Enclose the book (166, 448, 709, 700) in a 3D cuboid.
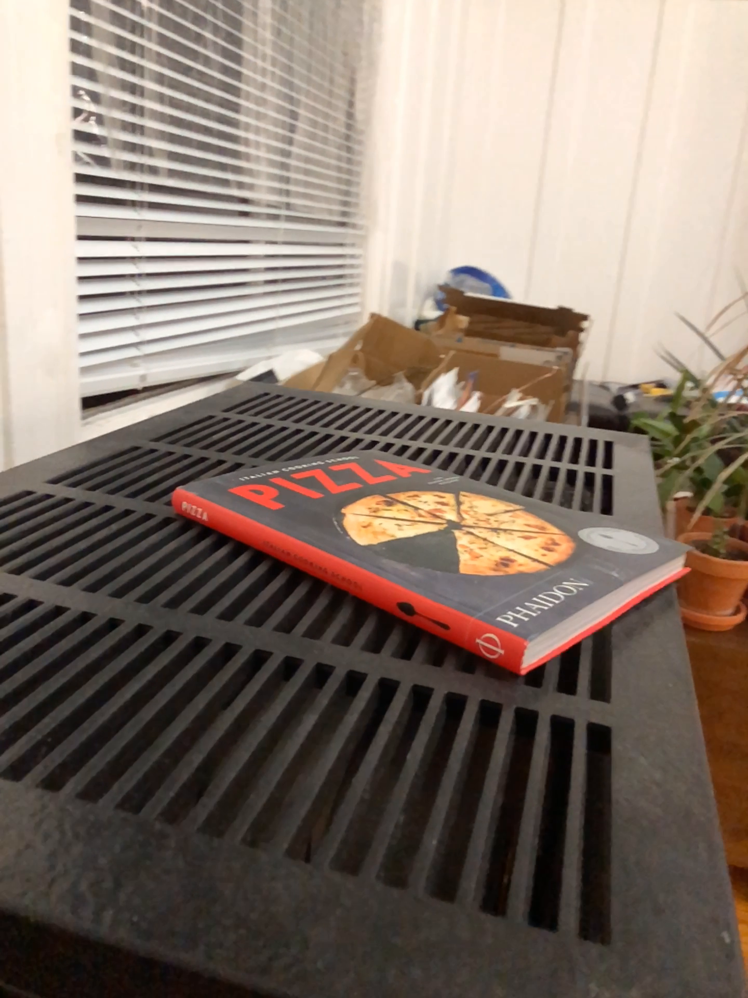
[{"bbox_3d":[0.032,0.020,0.445,0.230,0.020,0.181,19,23,38],"label":"book"}]
